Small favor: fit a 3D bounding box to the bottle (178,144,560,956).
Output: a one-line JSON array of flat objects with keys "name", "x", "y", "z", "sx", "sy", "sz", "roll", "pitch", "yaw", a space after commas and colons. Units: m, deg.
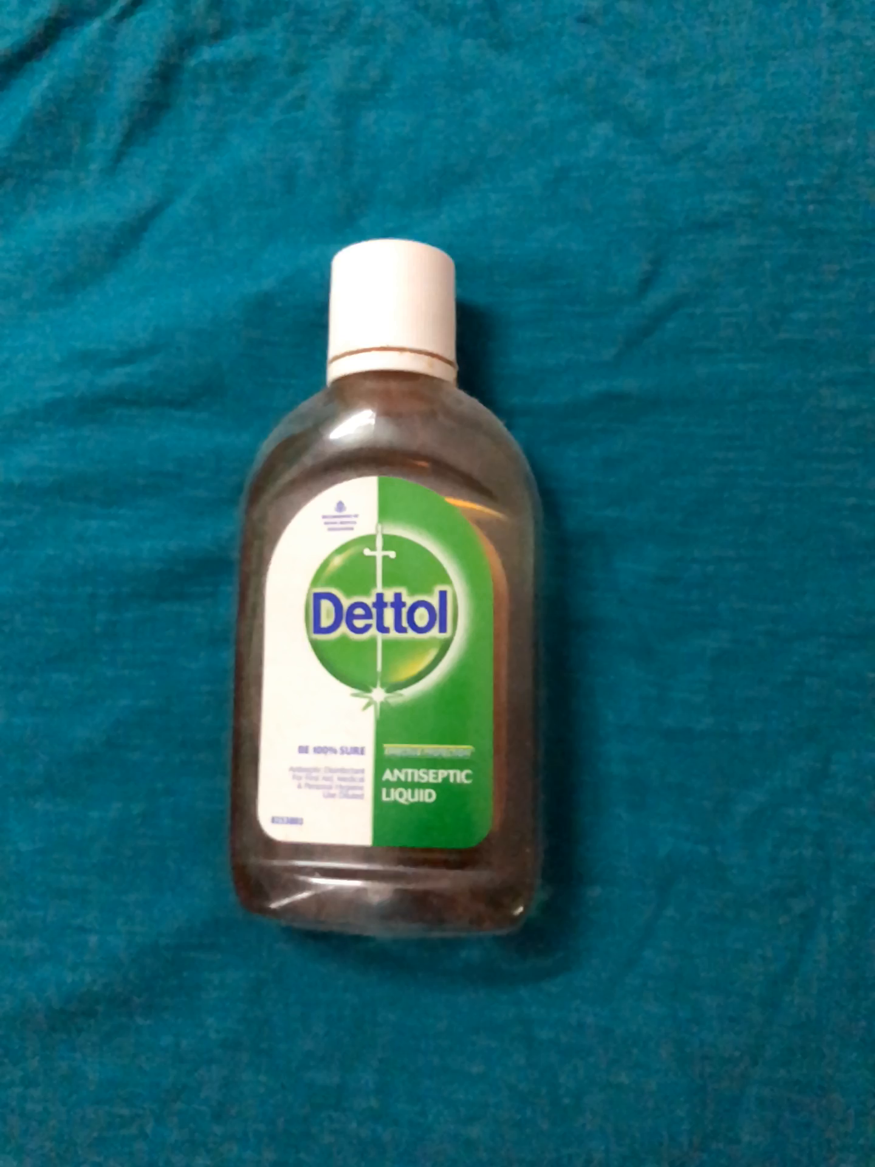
[{"name": "bottle", "x": -0.012, "y": -0.010, "z": 0.239, "sx": 0.080, "sy": 0.040, "sz": 0.180, "roll": 1, "pitch": 82, "yaw": 5}]
